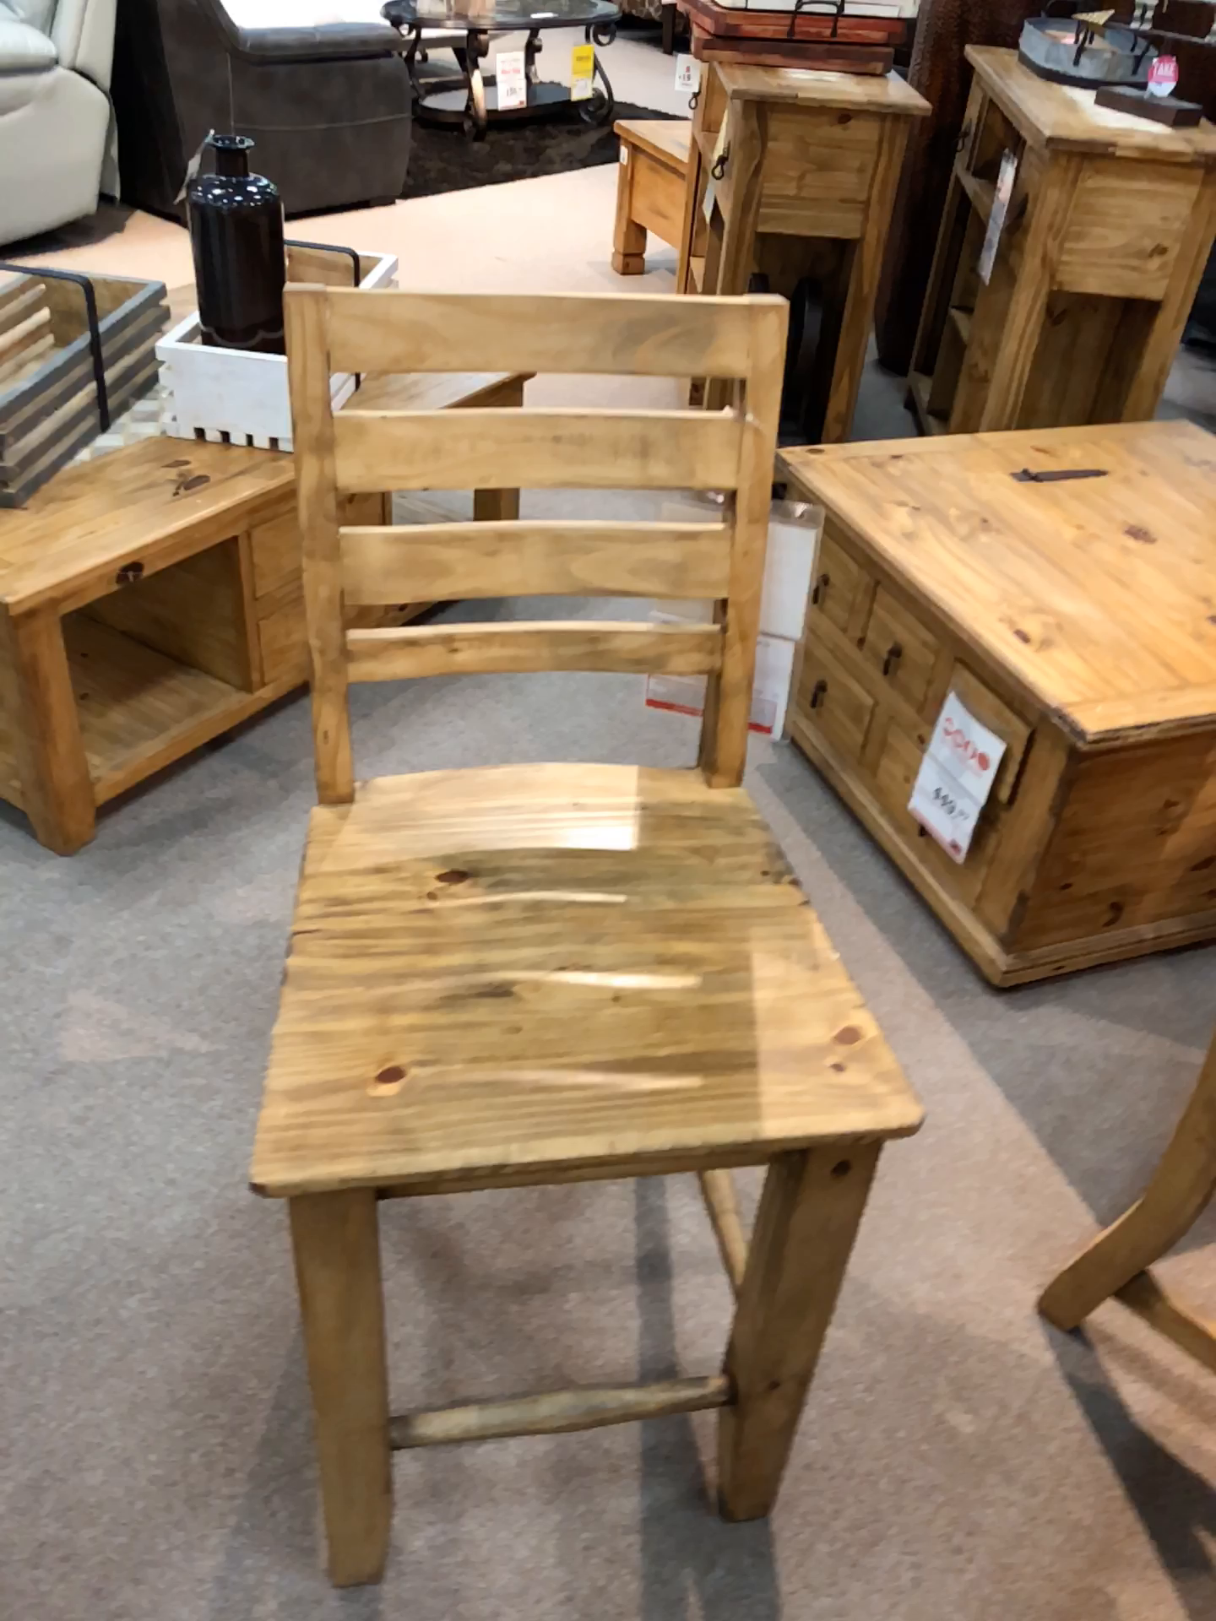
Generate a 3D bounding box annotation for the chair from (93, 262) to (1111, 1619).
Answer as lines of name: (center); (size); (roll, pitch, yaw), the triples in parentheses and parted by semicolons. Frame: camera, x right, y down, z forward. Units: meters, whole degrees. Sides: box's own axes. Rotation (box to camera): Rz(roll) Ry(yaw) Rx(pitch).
chair: (-0.062, 0.148, 1.116); (0.470, 1.014, 0.523); (-3, 38, -10)
